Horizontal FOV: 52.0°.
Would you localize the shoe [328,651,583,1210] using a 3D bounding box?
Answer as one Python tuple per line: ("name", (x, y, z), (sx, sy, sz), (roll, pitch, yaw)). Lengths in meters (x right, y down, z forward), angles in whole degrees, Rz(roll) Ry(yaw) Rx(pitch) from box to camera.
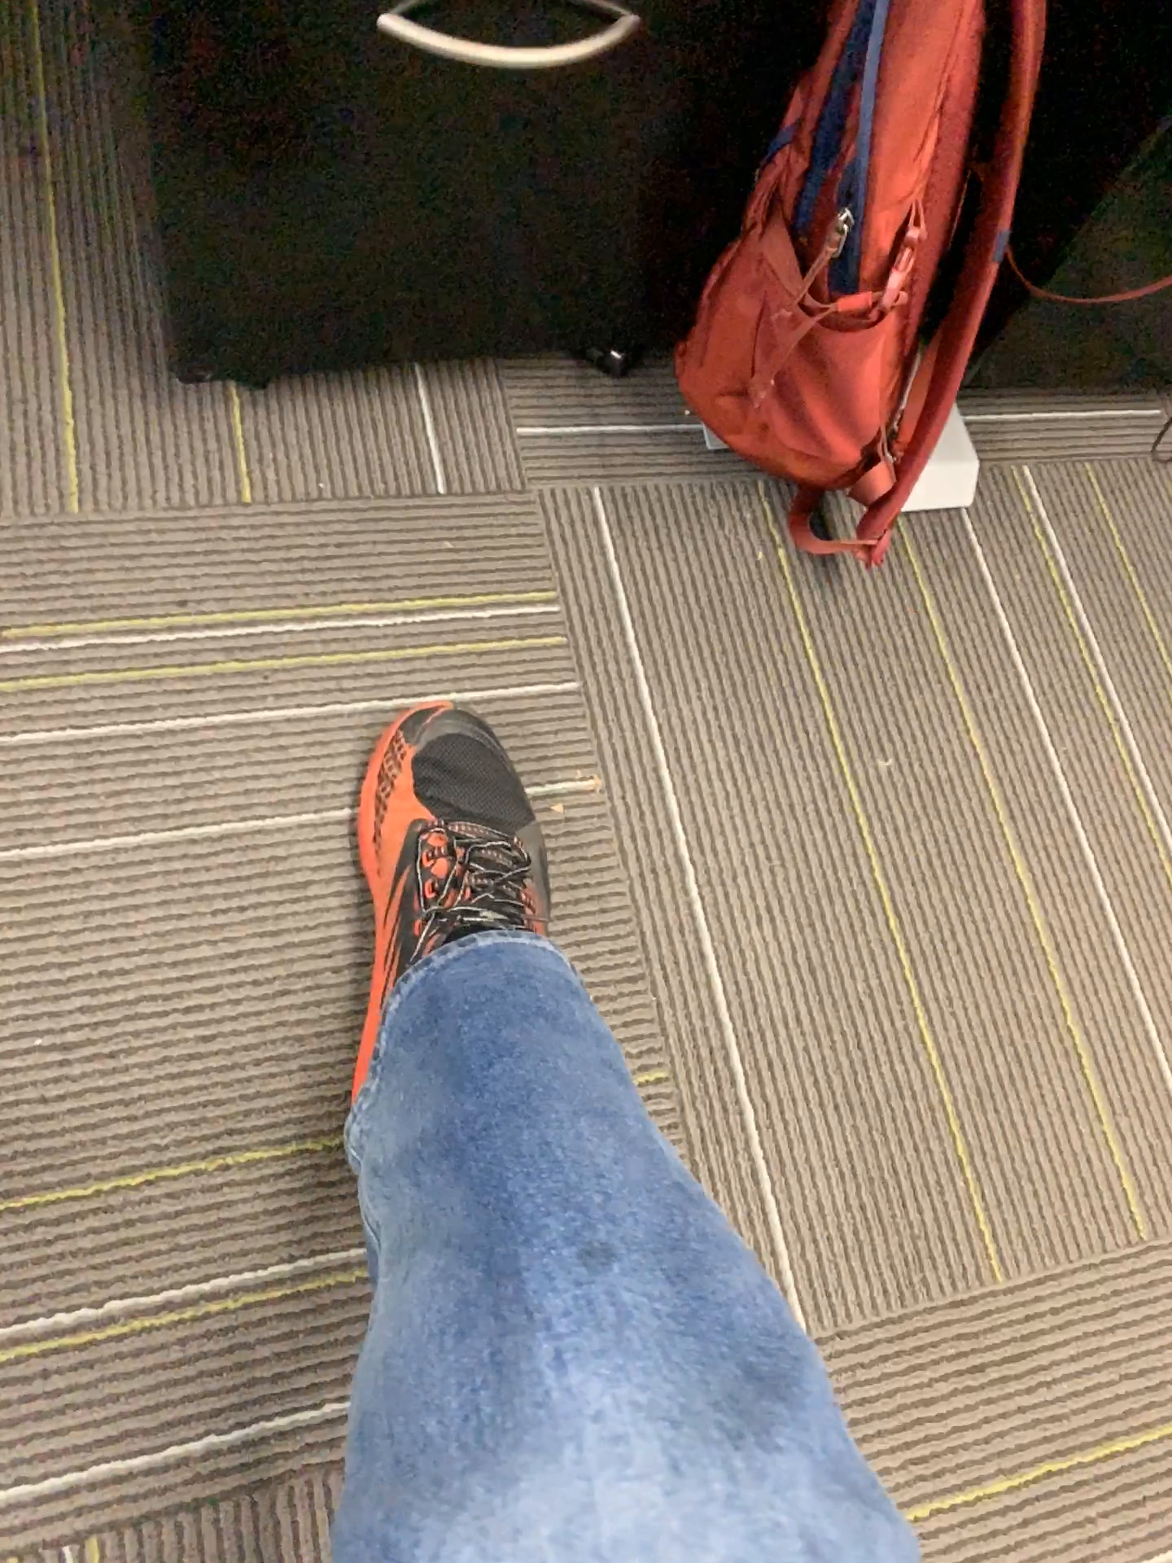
("shoe", (-0.078, 0.086, 0.722), (0.130, 0.077, 0.318), (4, 67, -13))
